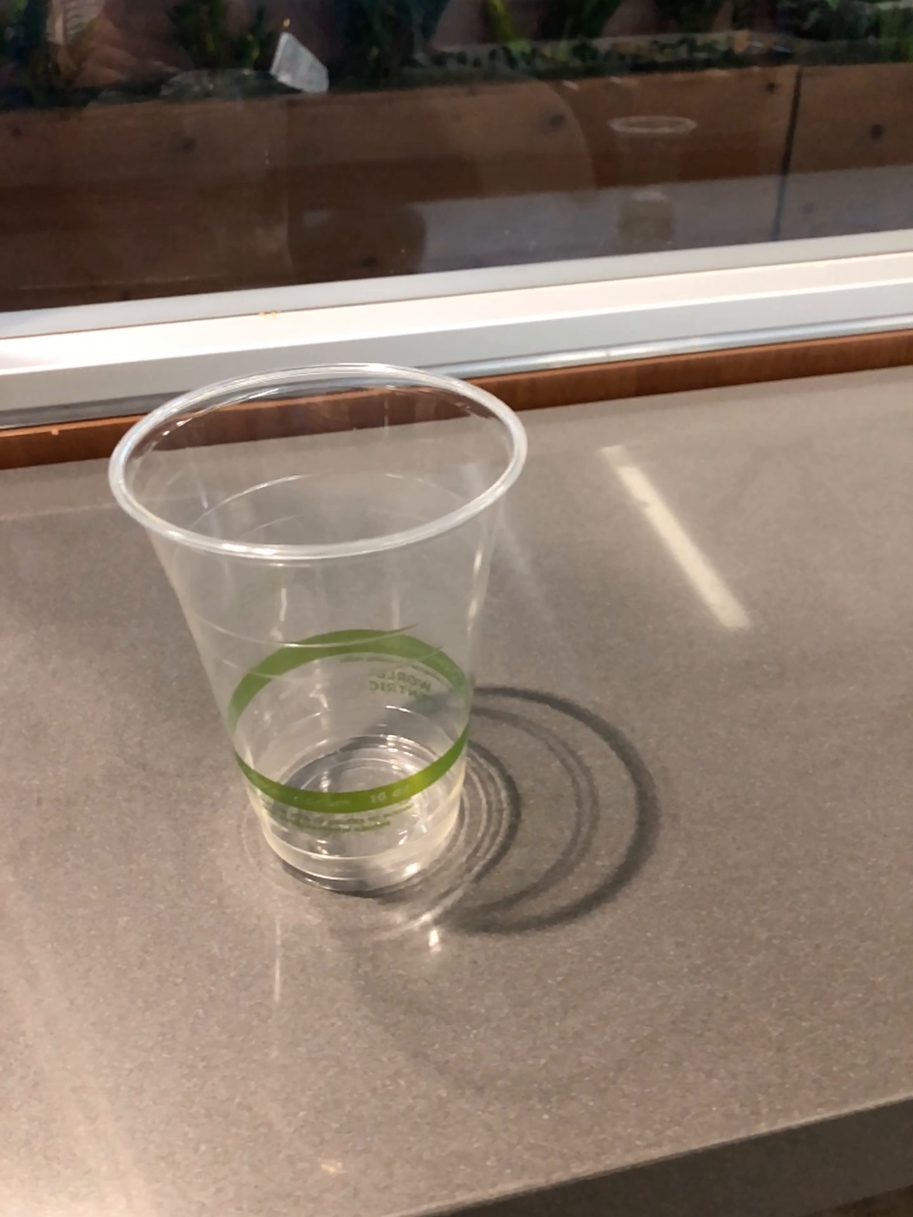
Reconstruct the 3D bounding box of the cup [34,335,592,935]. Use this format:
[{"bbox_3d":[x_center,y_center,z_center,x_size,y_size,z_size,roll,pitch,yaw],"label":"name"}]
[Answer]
[{"bbox_3d":[-0.026,0.000,0.275,0.100,0.109,0.100,-1,34,1],"label":"cup"}]
